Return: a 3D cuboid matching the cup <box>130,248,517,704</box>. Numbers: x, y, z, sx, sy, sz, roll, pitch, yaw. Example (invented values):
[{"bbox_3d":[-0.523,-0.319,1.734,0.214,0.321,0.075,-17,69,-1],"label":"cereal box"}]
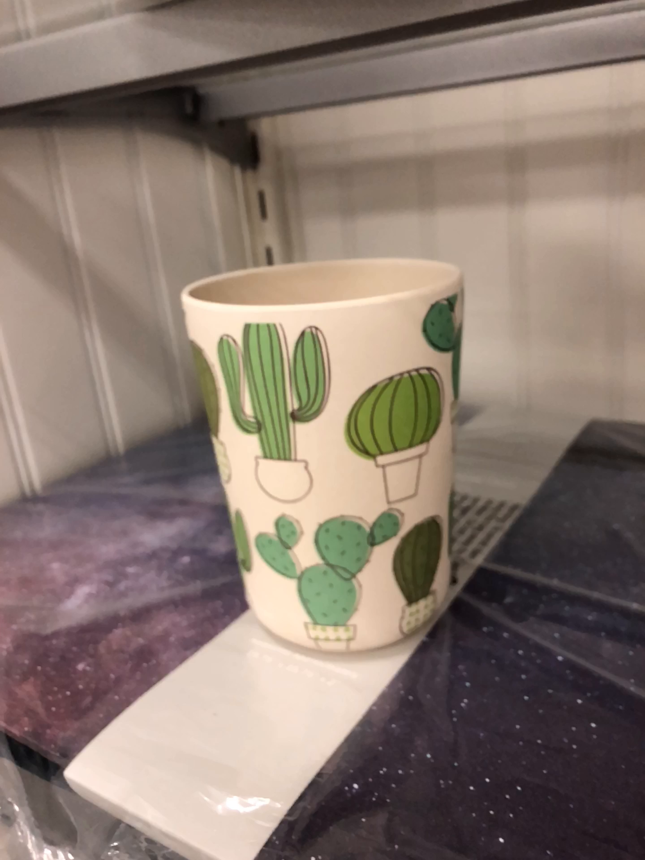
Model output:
[{"bbox_3d":[0.003,0.004,0.277,0.090,0.129,0.100,-22,25,-37],"label":"cup"}]
